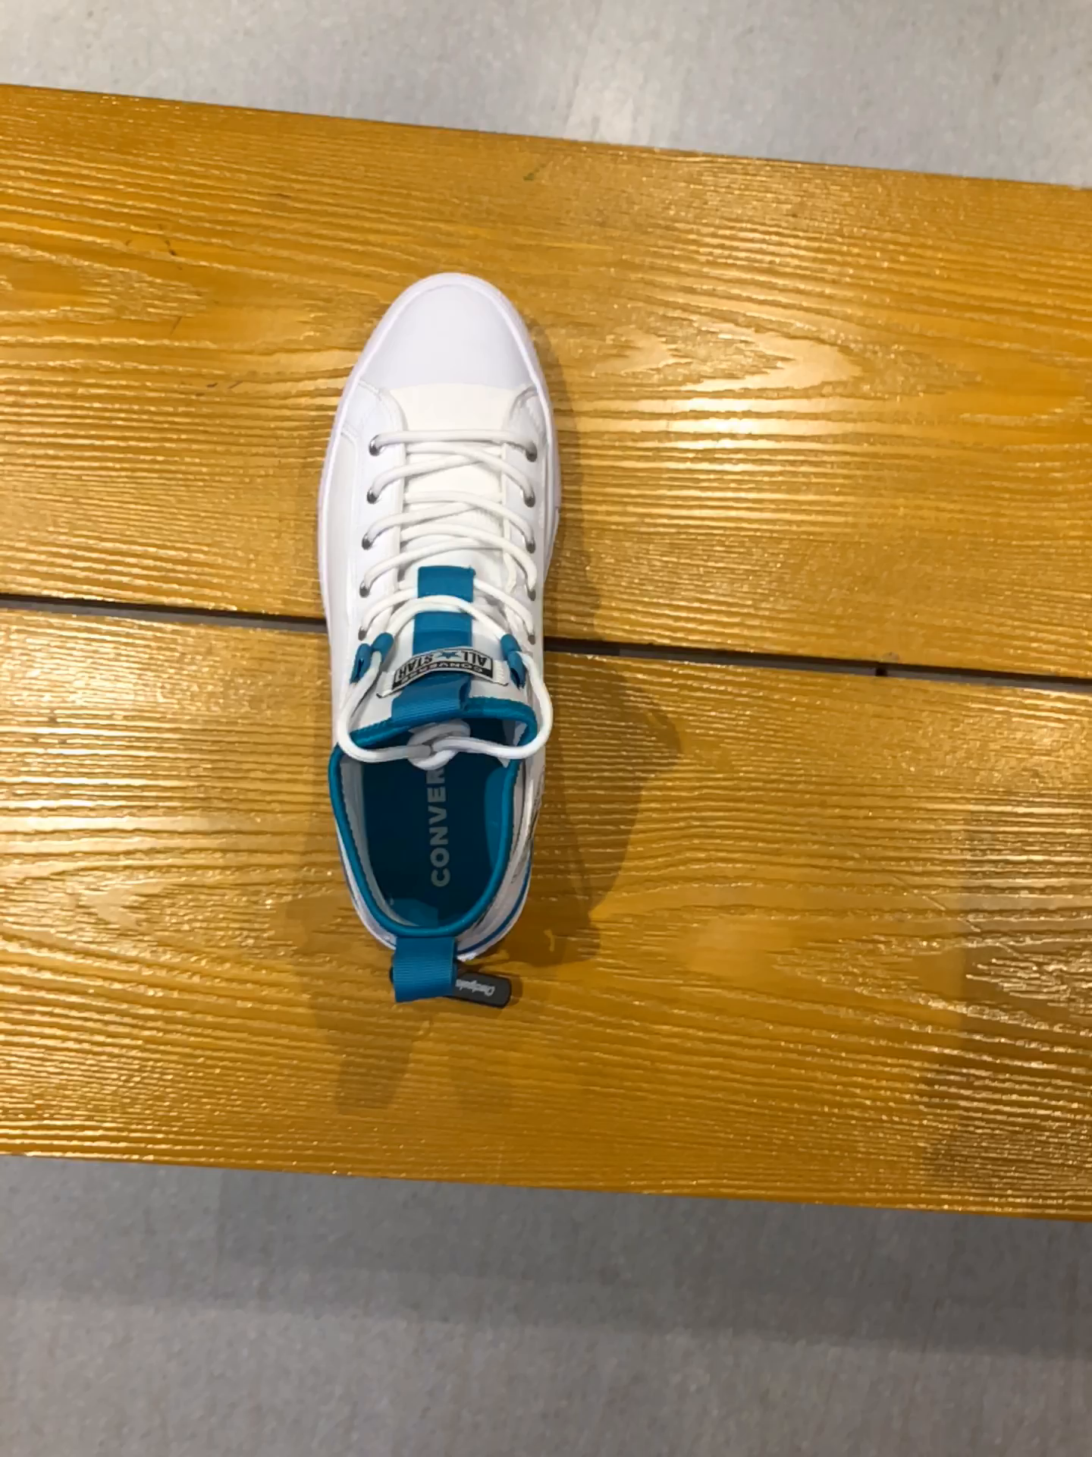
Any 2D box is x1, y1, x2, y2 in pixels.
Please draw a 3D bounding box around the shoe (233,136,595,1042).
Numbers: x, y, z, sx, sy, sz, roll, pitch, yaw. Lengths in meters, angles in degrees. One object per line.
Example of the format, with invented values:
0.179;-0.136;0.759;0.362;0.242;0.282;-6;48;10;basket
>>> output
-0.047;-0.044;0.470;0.108;0.158;0.293;-2;86;-2;shoe
